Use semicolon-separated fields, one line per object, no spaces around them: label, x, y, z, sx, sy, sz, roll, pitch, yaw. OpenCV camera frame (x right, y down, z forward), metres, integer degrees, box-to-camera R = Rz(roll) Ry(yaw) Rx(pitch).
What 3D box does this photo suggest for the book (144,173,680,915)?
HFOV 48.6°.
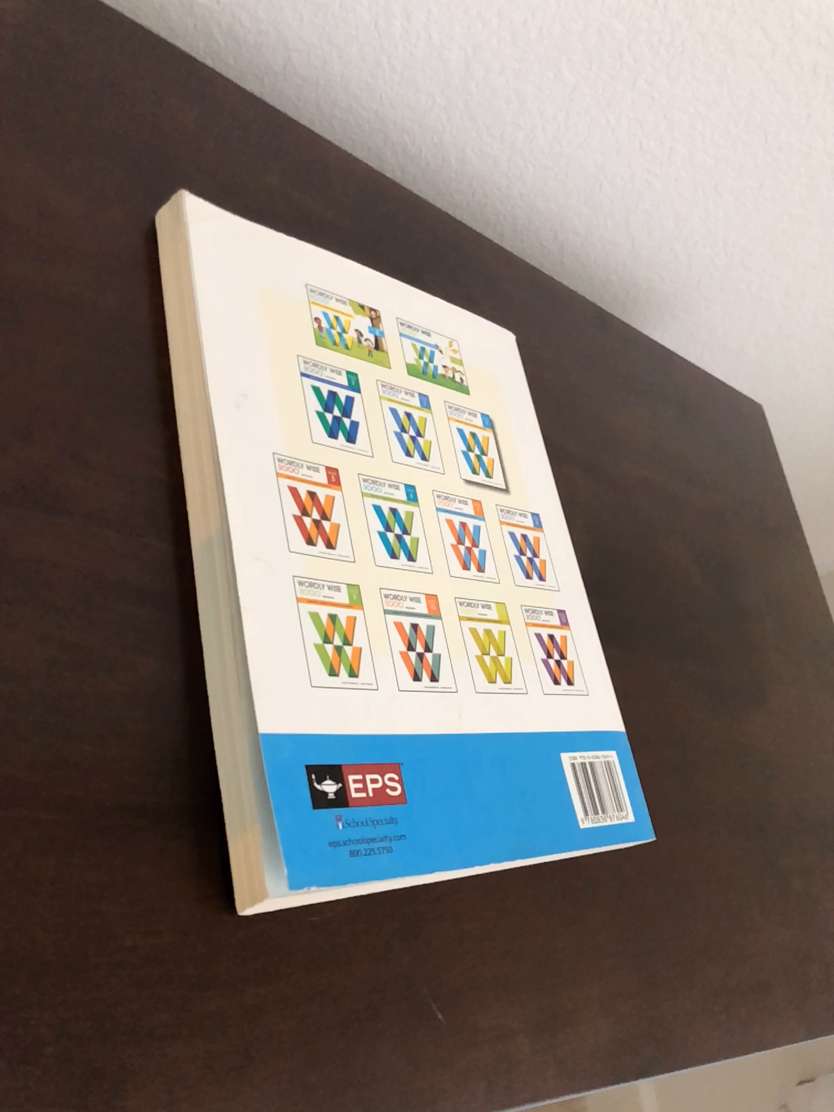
book;0.002;-0.007;0.396;0.221;0.031;0.271;10;61;-42
